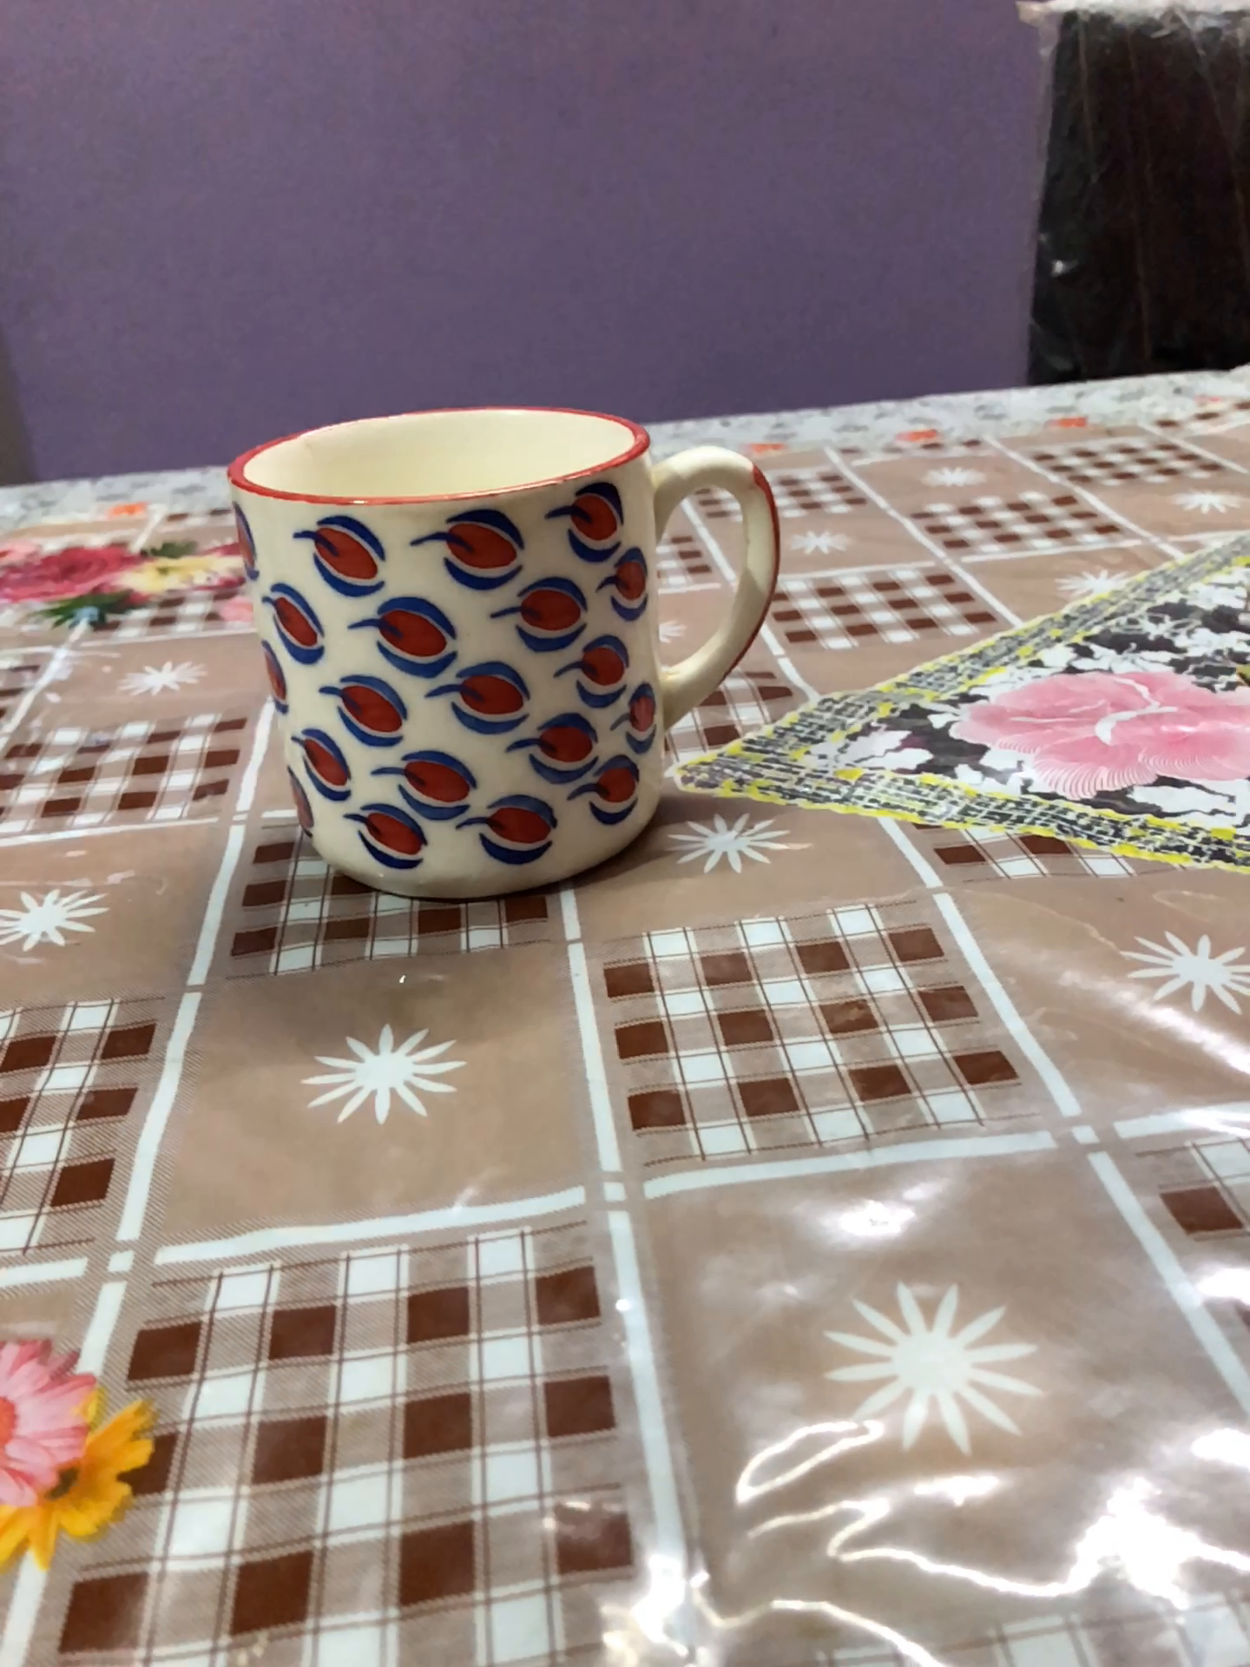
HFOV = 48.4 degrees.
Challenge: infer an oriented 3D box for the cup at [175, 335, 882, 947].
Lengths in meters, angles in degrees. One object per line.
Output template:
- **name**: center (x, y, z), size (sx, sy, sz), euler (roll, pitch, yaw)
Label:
- **cup**: center (-0.020, -0.044, 0.269), size (0.110, 0.080, 0.080), euler (-12, 29, -16)
